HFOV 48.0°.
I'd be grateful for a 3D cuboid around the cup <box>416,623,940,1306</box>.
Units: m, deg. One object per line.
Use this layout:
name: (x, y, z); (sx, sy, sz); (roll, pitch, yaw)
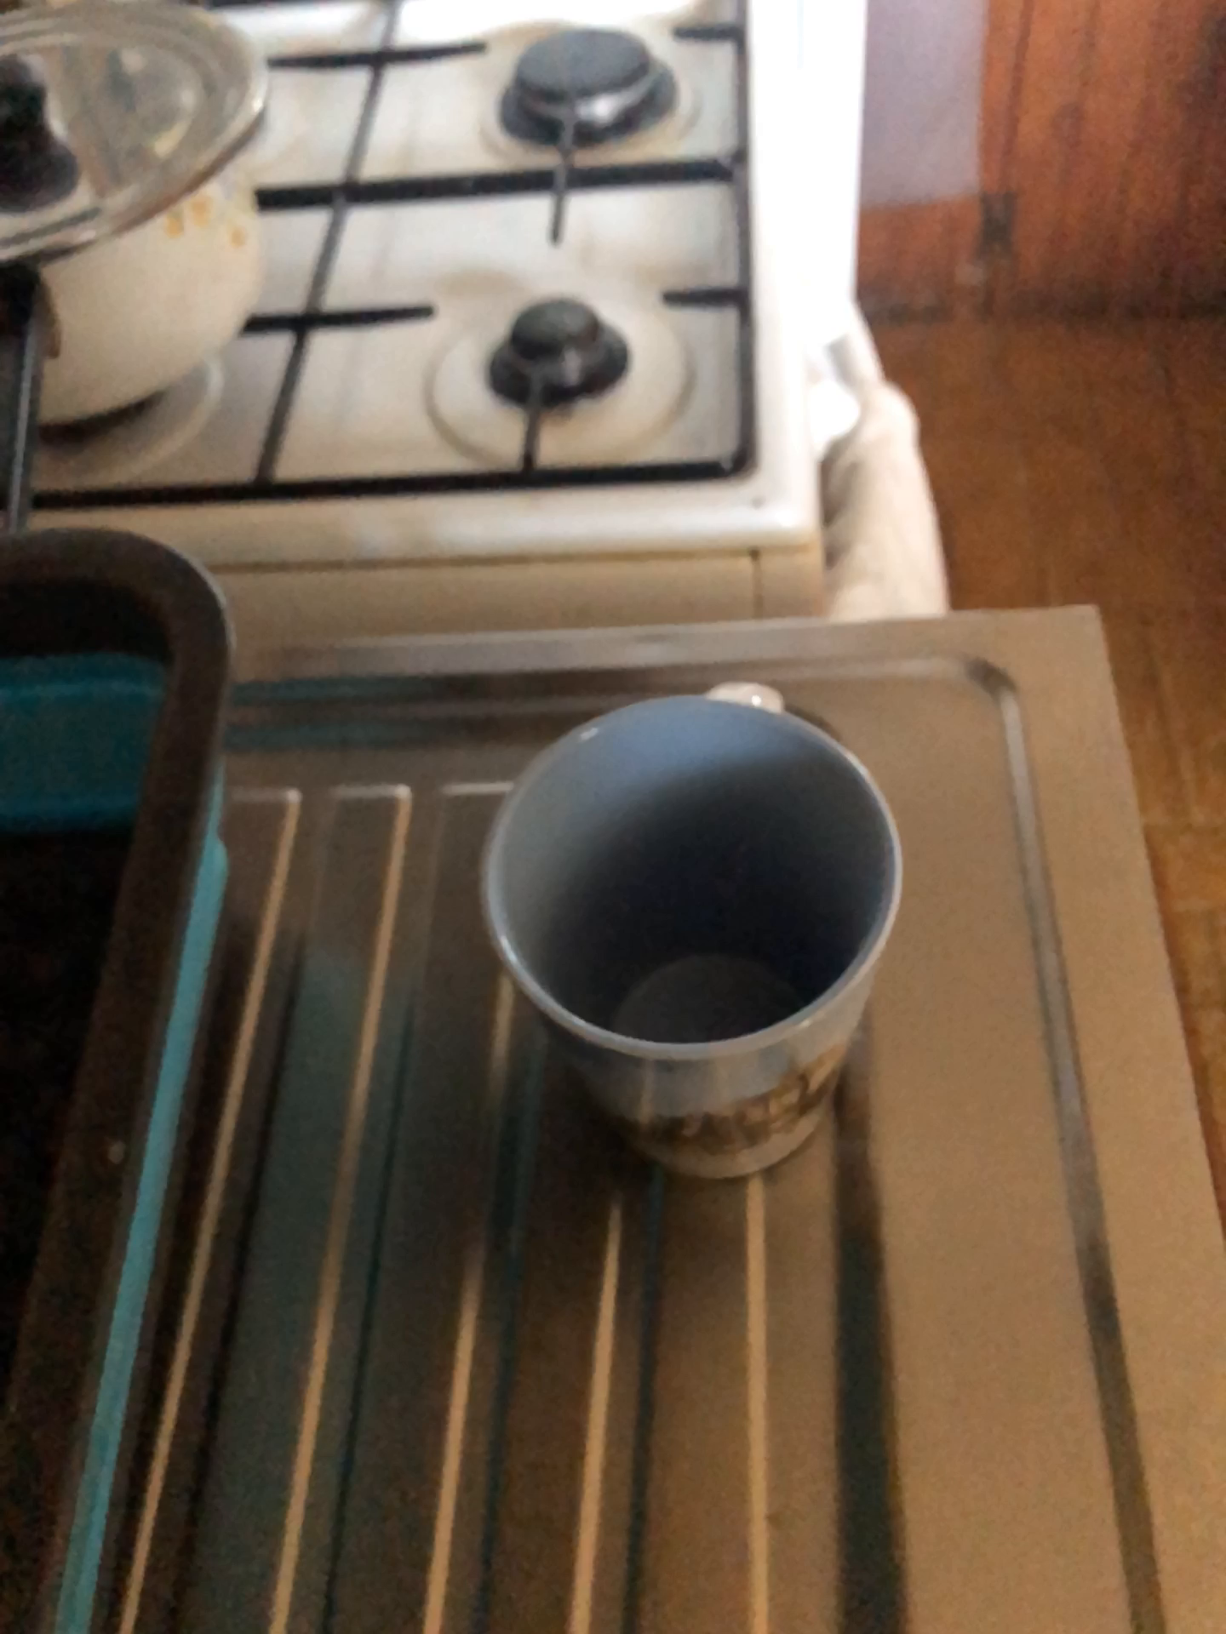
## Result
cup: (0.025, 0.036, 0.346); (0.100, 0.100, 0.131); (4, 55, 10)
